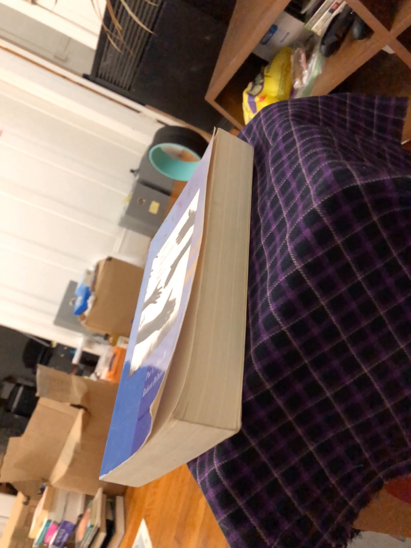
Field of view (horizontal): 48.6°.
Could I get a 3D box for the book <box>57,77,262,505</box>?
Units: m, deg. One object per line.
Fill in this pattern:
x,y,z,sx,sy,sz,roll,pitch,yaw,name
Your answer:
-0.032,0.013,0.341,0.200,0.040,0.261,-49,26,48,book
